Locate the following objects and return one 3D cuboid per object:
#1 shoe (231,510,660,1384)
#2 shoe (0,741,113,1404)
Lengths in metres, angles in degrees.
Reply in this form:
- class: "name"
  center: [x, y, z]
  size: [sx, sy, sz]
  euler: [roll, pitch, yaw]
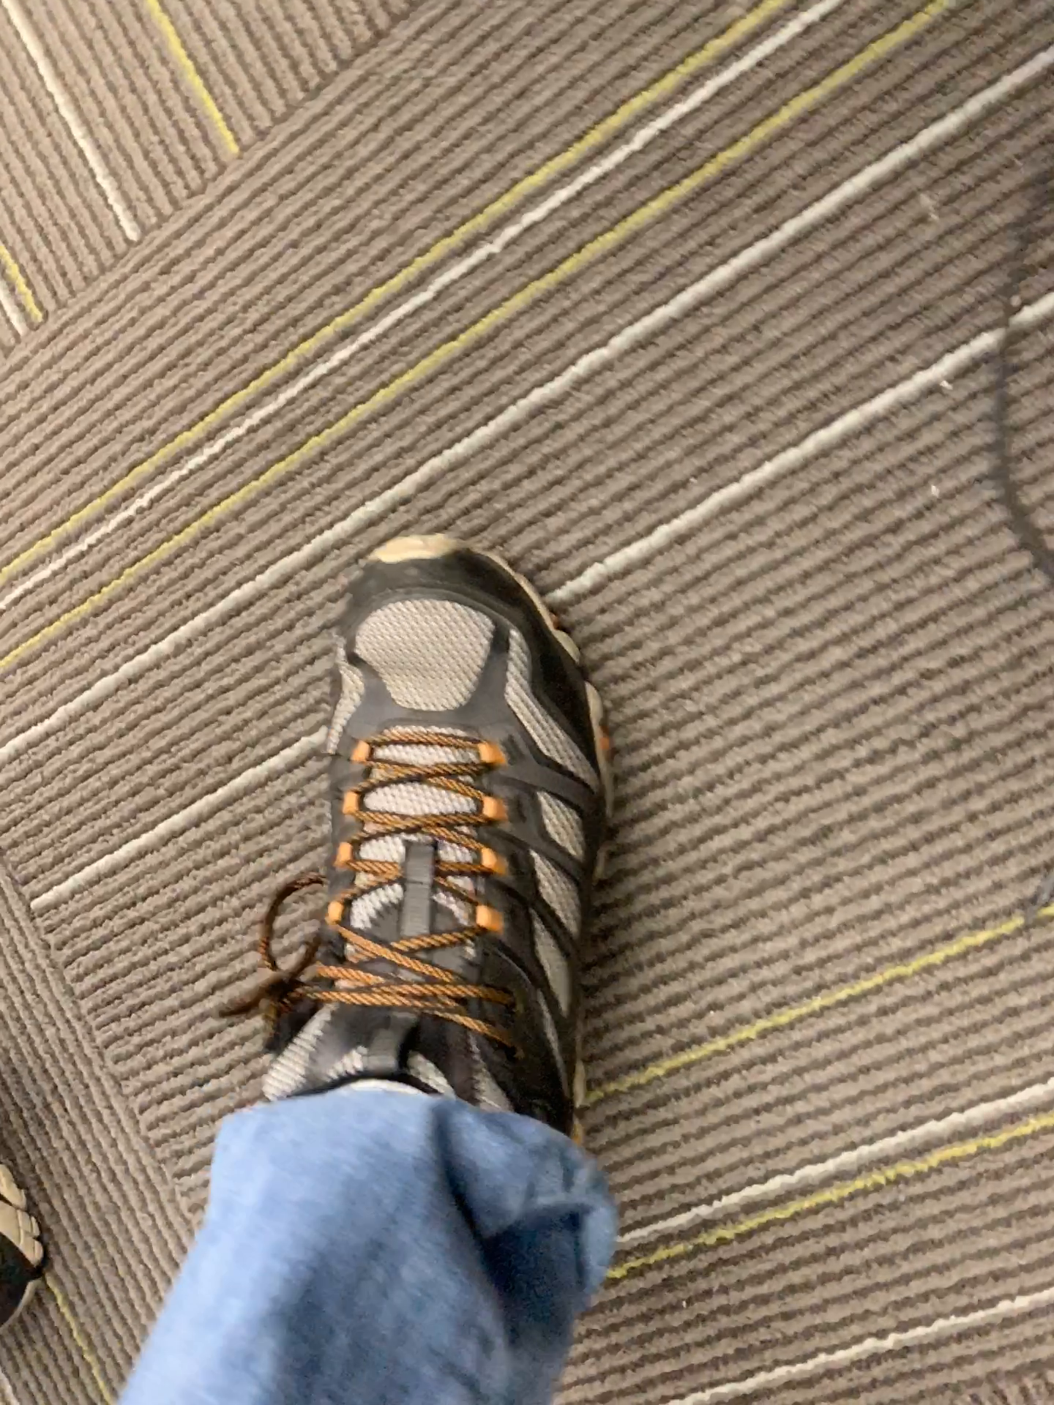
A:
- class: "shoe"
  center: [-0.025, 0.091, 0.448]
  size: [0.123, 0.095, 0.322]
  euler: [-3, 96, 17]
- class: "shoe"
  center: [-0.360, 0.198, 0.564]
  size: [0.126, 0.095, 0.323]
  euler: [-25, 89, 18]
